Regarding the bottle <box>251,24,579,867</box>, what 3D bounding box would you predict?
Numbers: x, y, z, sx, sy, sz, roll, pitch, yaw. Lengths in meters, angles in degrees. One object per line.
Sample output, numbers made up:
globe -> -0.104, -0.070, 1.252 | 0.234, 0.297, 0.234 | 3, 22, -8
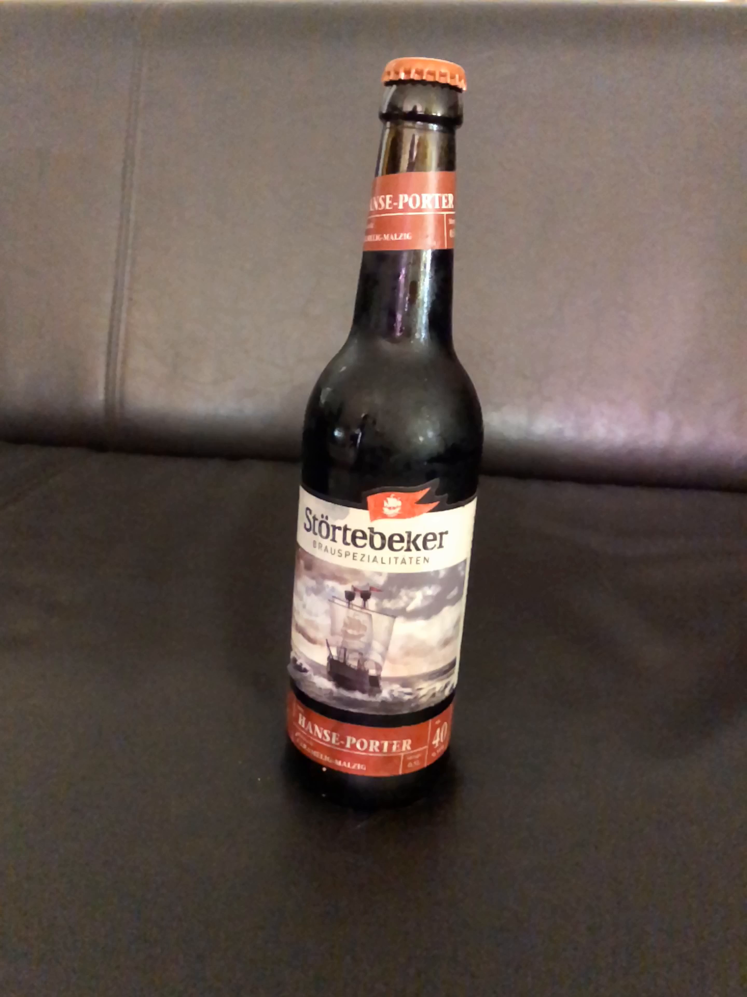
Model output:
bottle -> 0.011, -0.013, 0.313 | 0.080, 0.279, 0.080 | 3, 19, -1
